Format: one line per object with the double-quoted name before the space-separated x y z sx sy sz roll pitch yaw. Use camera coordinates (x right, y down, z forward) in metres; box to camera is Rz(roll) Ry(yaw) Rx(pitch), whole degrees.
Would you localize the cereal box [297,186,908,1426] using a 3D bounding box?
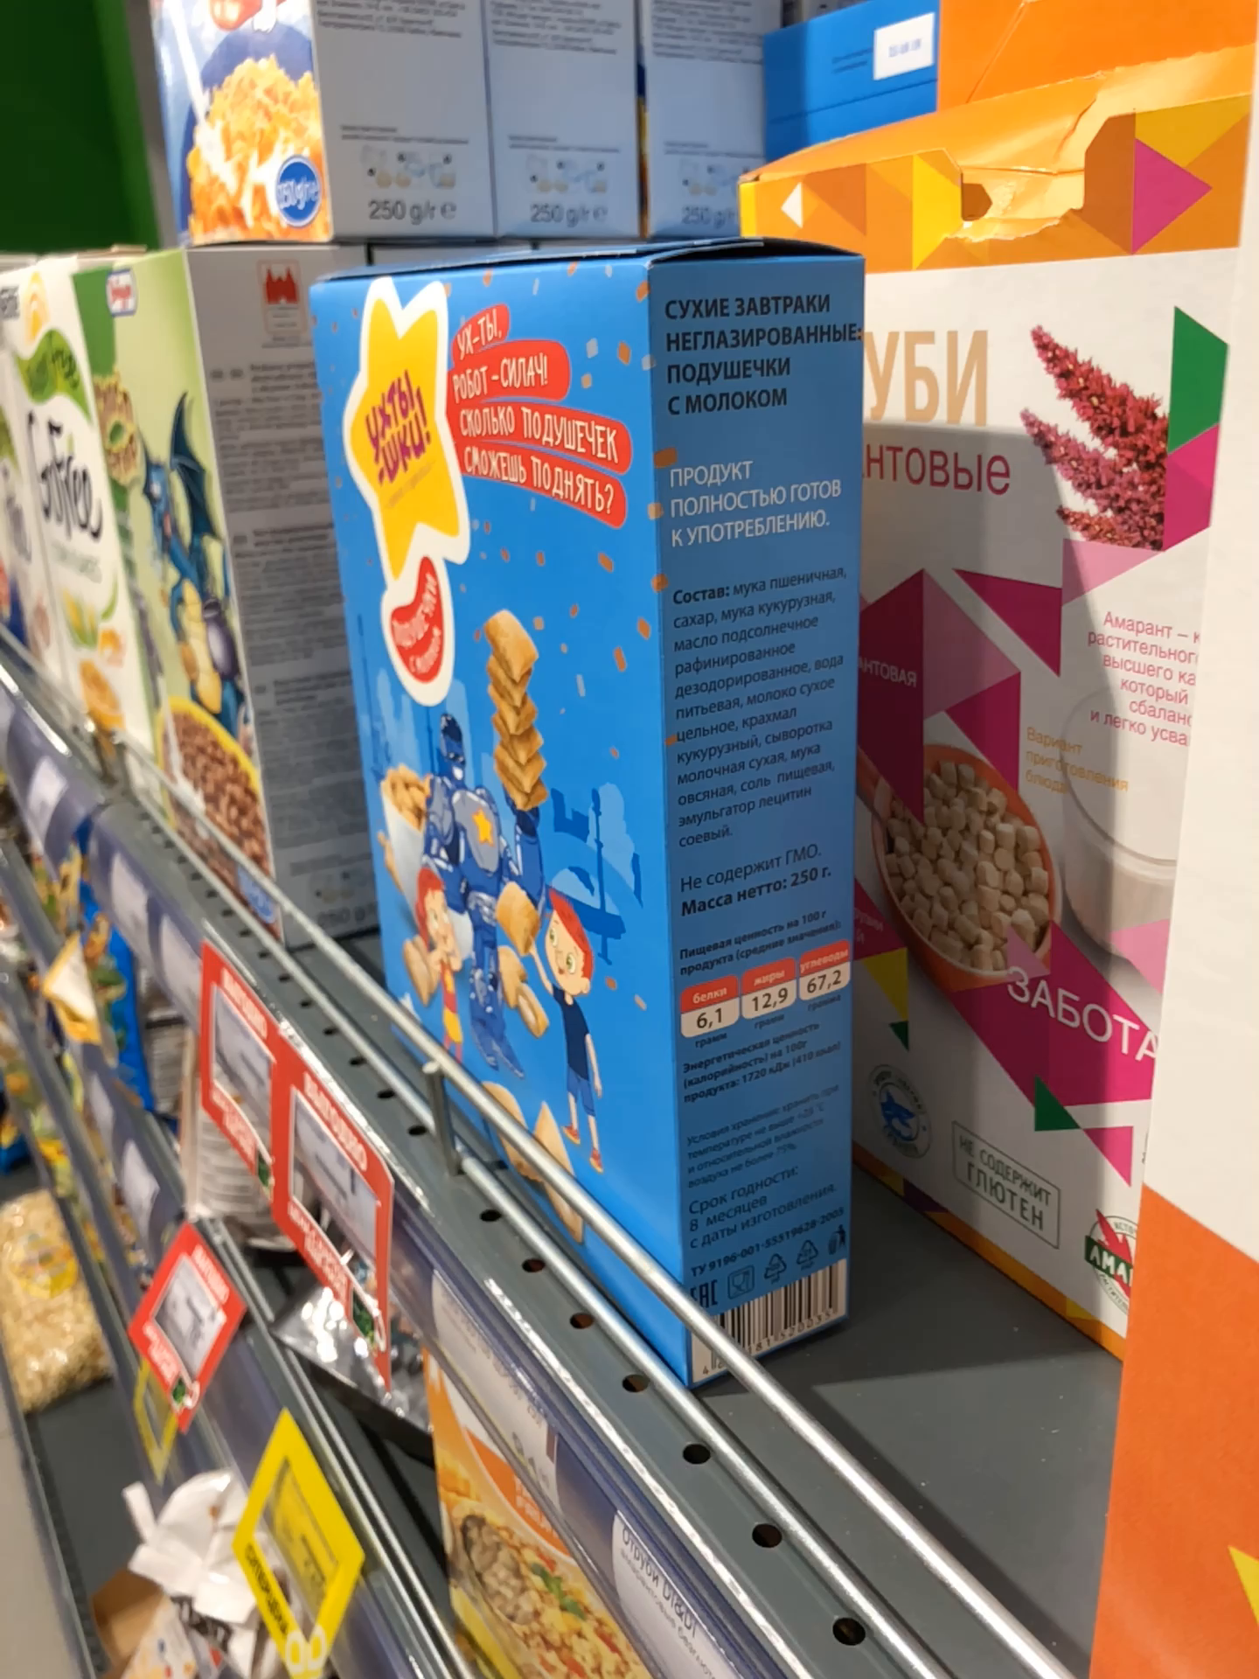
"cereal box" -0.016 -0.022 0.351 0.050 0.239 0.201 -13 22 -25
